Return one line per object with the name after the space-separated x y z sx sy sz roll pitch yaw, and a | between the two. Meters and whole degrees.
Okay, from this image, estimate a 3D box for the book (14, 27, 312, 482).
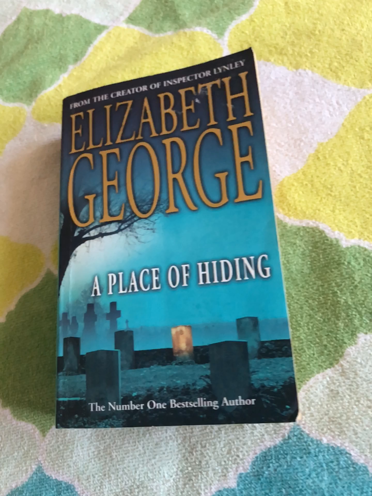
-0.018 0.002 0.236 0.130 0.070 0.210 -7 77 7 | book
